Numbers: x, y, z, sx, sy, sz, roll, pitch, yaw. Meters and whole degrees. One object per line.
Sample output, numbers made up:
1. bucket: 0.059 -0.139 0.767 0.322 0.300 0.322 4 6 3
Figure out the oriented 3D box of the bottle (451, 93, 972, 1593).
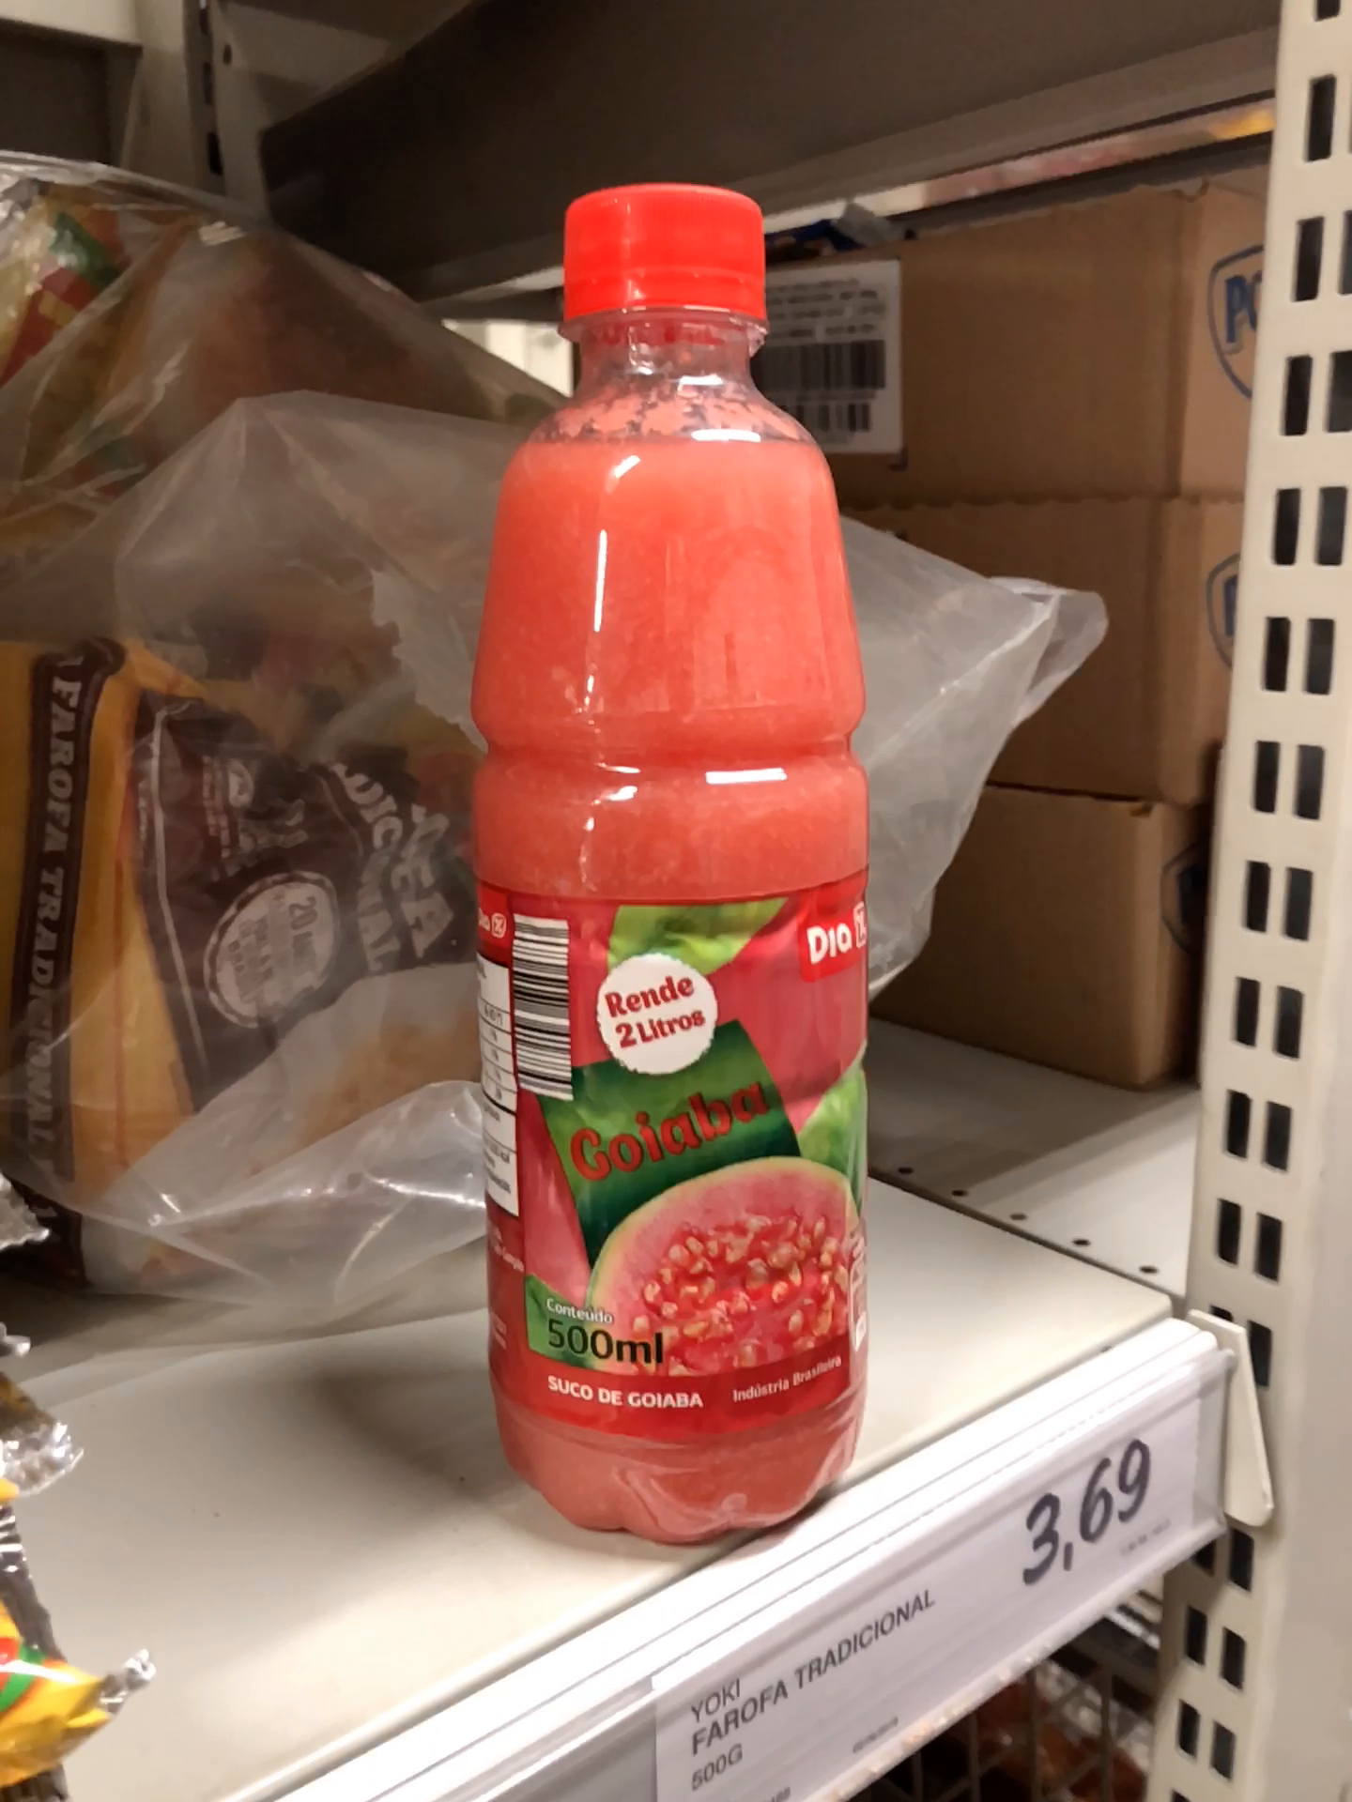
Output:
1. bottle: 0.008 -0.007 0.259 0.070 0.219 0.070 1 11 0
